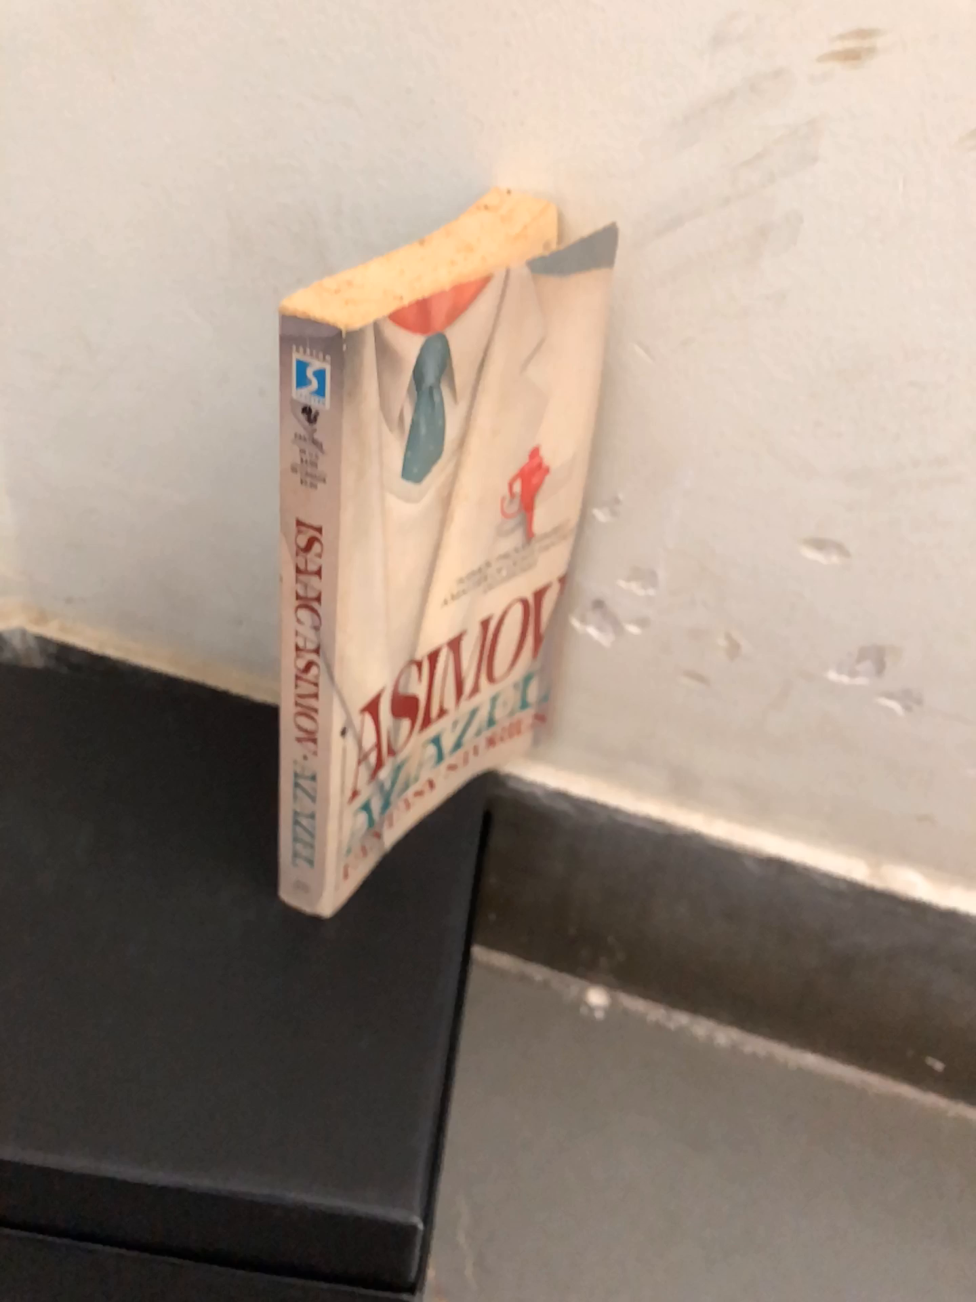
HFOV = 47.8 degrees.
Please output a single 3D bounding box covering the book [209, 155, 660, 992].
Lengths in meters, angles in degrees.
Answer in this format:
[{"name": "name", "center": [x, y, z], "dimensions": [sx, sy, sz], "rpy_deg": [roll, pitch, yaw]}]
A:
[{"name": "book", "center": [-0.008, -0.023, 0.311], "dimensions": [0.030, 0.189, 0.151], "rpy_deg": [21, 40, 21]}]
